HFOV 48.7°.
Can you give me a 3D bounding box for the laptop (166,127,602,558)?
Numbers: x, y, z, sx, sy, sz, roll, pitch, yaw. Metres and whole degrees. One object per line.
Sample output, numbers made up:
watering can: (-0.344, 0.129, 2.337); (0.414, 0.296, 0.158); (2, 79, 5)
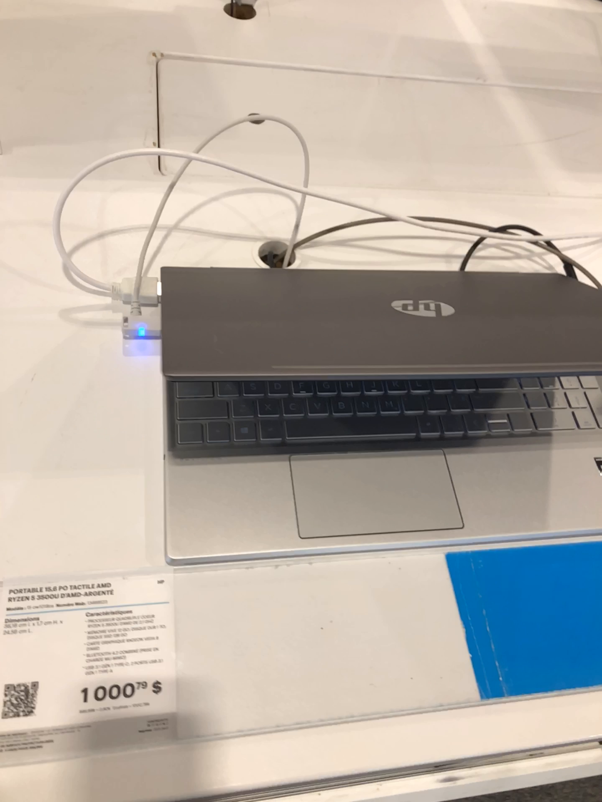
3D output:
laptop: (0.090, -0.041, 0.443); (0.350, 0.134, 0.231); (-1, 58, -11)
